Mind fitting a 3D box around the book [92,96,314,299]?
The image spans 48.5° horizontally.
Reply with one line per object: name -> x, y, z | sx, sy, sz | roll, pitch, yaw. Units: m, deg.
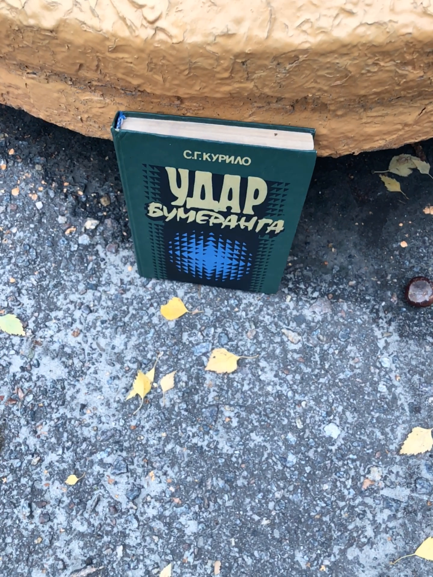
book -> -0.007, -0.056, 0.369 | 0.131, 0.179, 0.029 | 11, 63, 7
